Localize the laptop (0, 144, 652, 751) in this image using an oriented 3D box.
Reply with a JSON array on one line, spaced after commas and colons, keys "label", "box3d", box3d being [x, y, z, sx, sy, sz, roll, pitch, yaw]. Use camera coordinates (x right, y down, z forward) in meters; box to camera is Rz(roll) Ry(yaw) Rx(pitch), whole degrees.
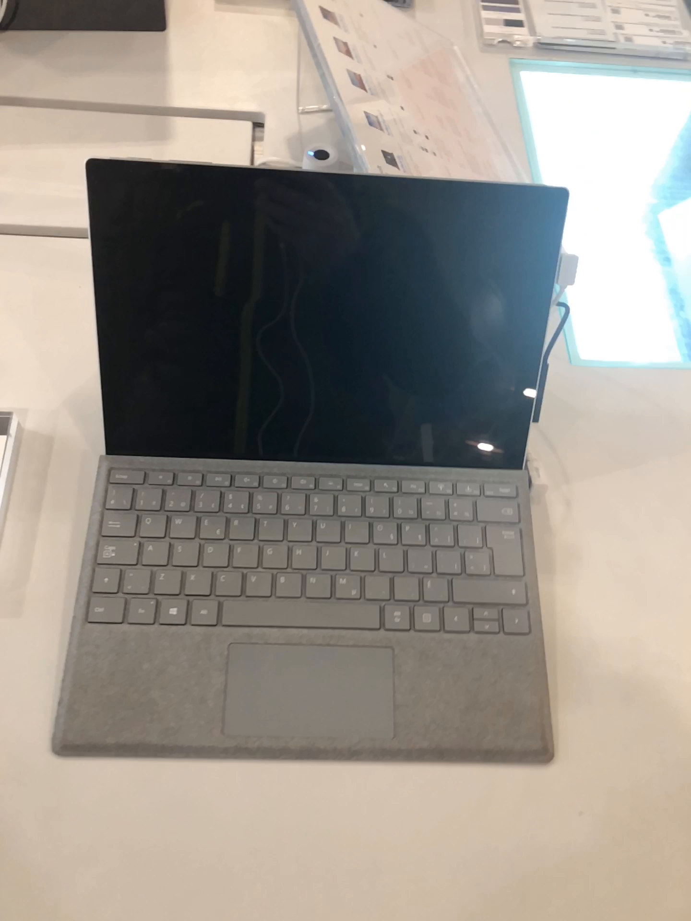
[{"label": "laptop", "box3d": [-0.014, -0.004, 0.438, 0.278, 0.148, 0.297, 2, 63, -4]}]
